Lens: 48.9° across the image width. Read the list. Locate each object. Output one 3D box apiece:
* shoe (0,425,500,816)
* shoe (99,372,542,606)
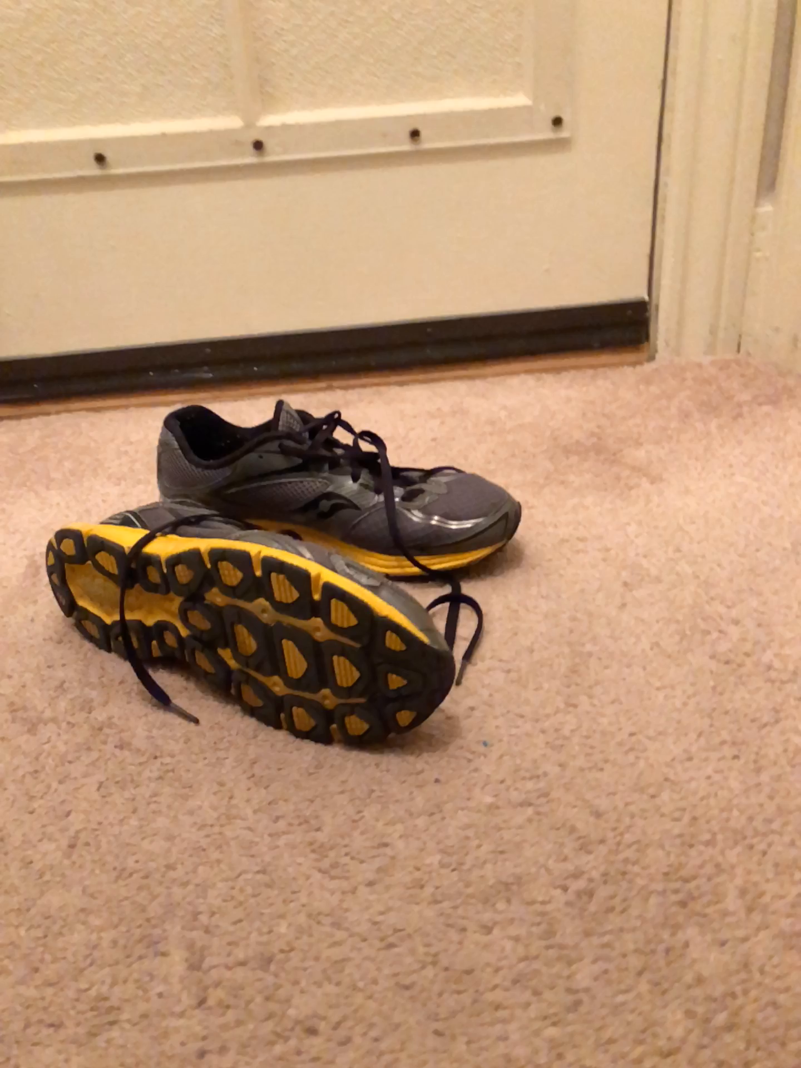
[{"bbox_3d":[-0.101,0.033,0.512,0.293,0.117,0.110,13,36,28],"label":"shoe"},{"bbox_3d":[-0.051,-0.042,0.632,0.283,0.098,0.119,7,31,19],"label":"shoe"}]
